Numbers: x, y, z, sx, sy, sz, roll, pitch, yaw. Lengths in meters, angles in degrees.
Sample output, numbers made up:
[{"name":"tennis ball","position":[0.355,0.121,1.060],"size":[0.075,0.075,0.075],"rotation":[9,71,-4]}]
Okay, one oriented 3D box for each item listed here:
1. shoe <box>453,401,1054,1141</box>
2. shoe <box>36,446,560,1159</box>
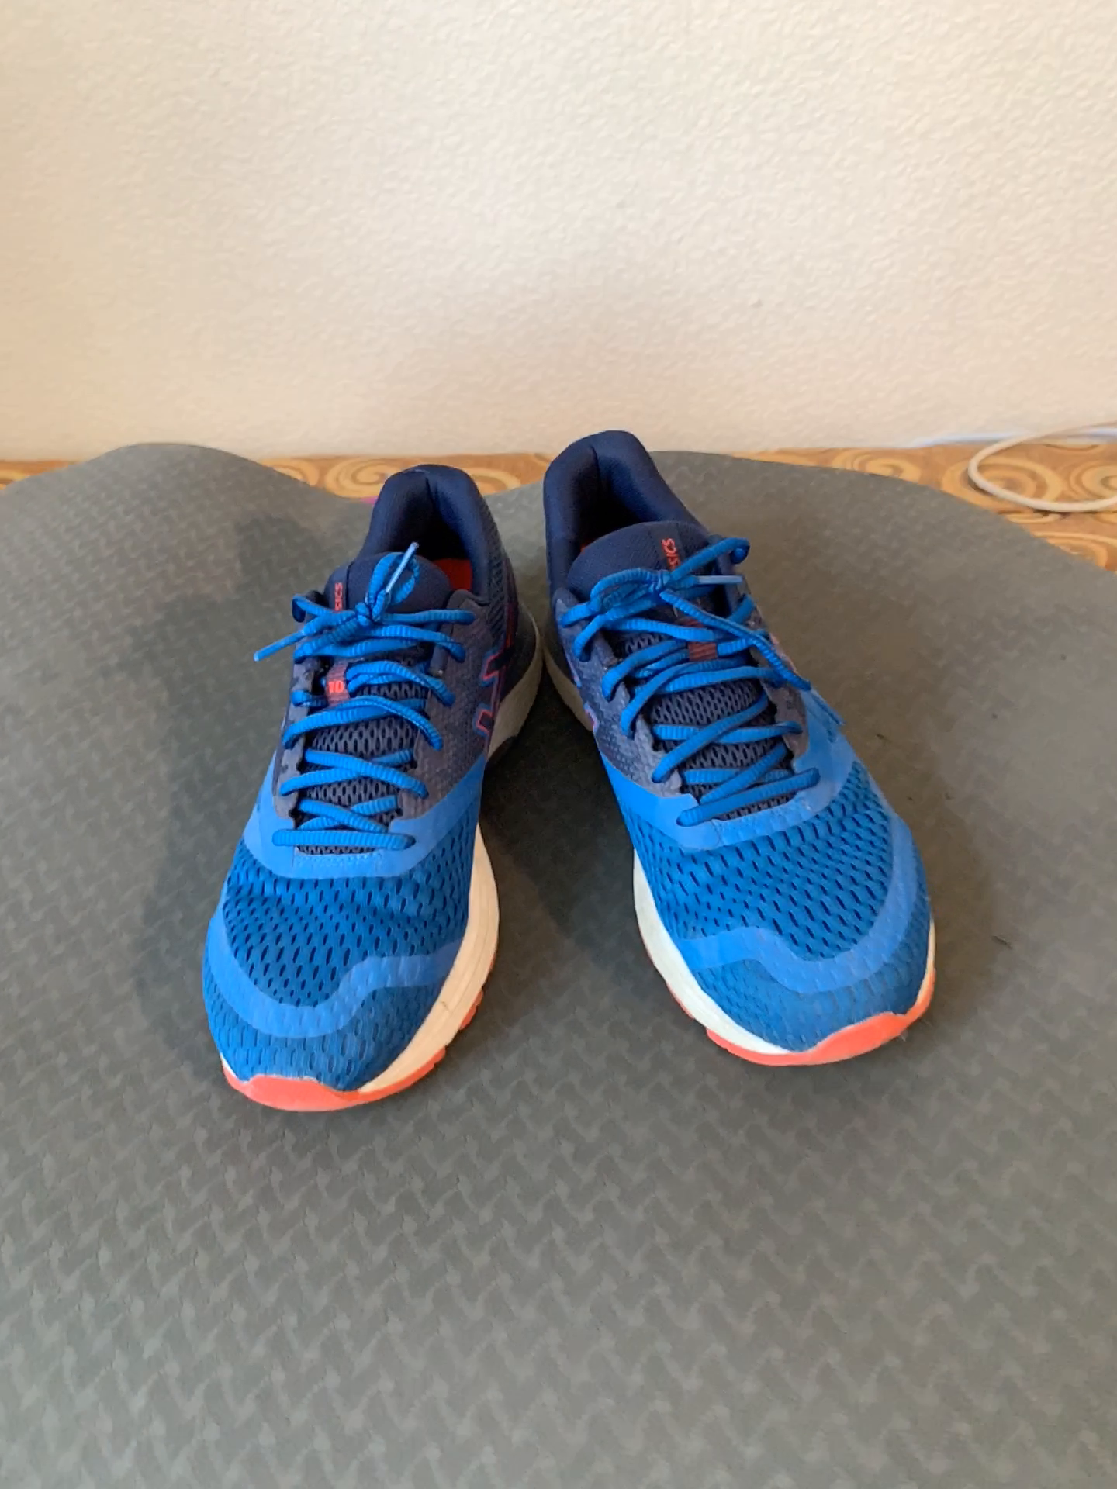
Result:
[{"name":"shoe","position":[0.054,-0.014,0.479],"size":[0.120,0.109,0.302],"rotation":[-14,45,-8]},{"name":"shoe","position":[-0.079,0.002,0.484],"size":[0.120,0.109,0.301],"rotation":[1,45,7]}]
